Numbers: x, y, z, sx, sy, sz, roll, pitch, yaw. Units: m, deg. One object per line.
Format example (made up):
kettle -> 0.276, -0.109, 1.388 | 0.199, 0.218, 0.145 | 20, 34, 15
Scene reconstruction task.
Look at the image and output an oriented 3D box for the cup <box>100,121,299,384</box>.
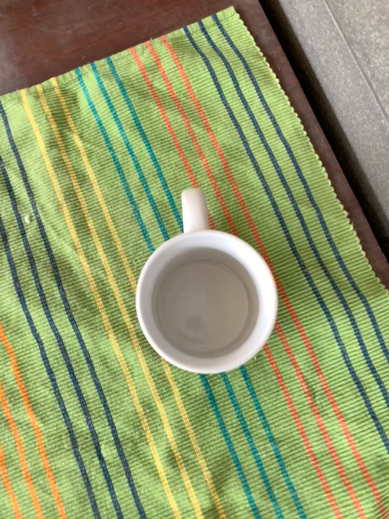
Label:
cup -> 0.000, 0.000, 0.264 | 0.080, 0.100, 0.130 | -13, 81, -3
